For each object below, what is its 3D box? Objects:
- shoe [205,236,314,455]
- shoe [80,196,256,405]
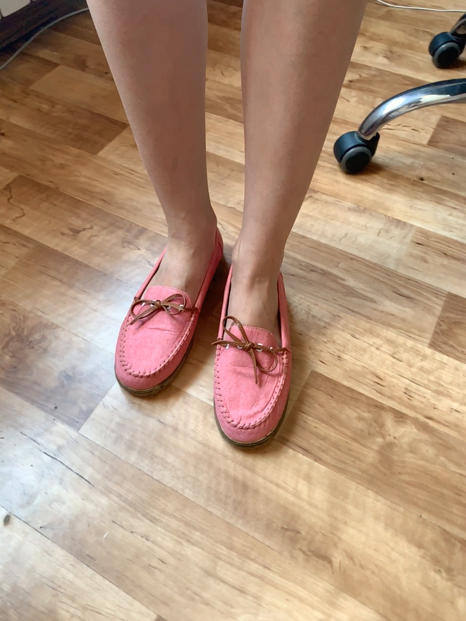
[{"bbox_3d":[0.038,0.029,0.560,0.090,0.060,0.251,7,55,6],"label":"shoe"},{"bbox_3d":[-0.067,-0.025,0.594,0.100,0.060,0.261,19,57,14],"label":"shoe"}]
